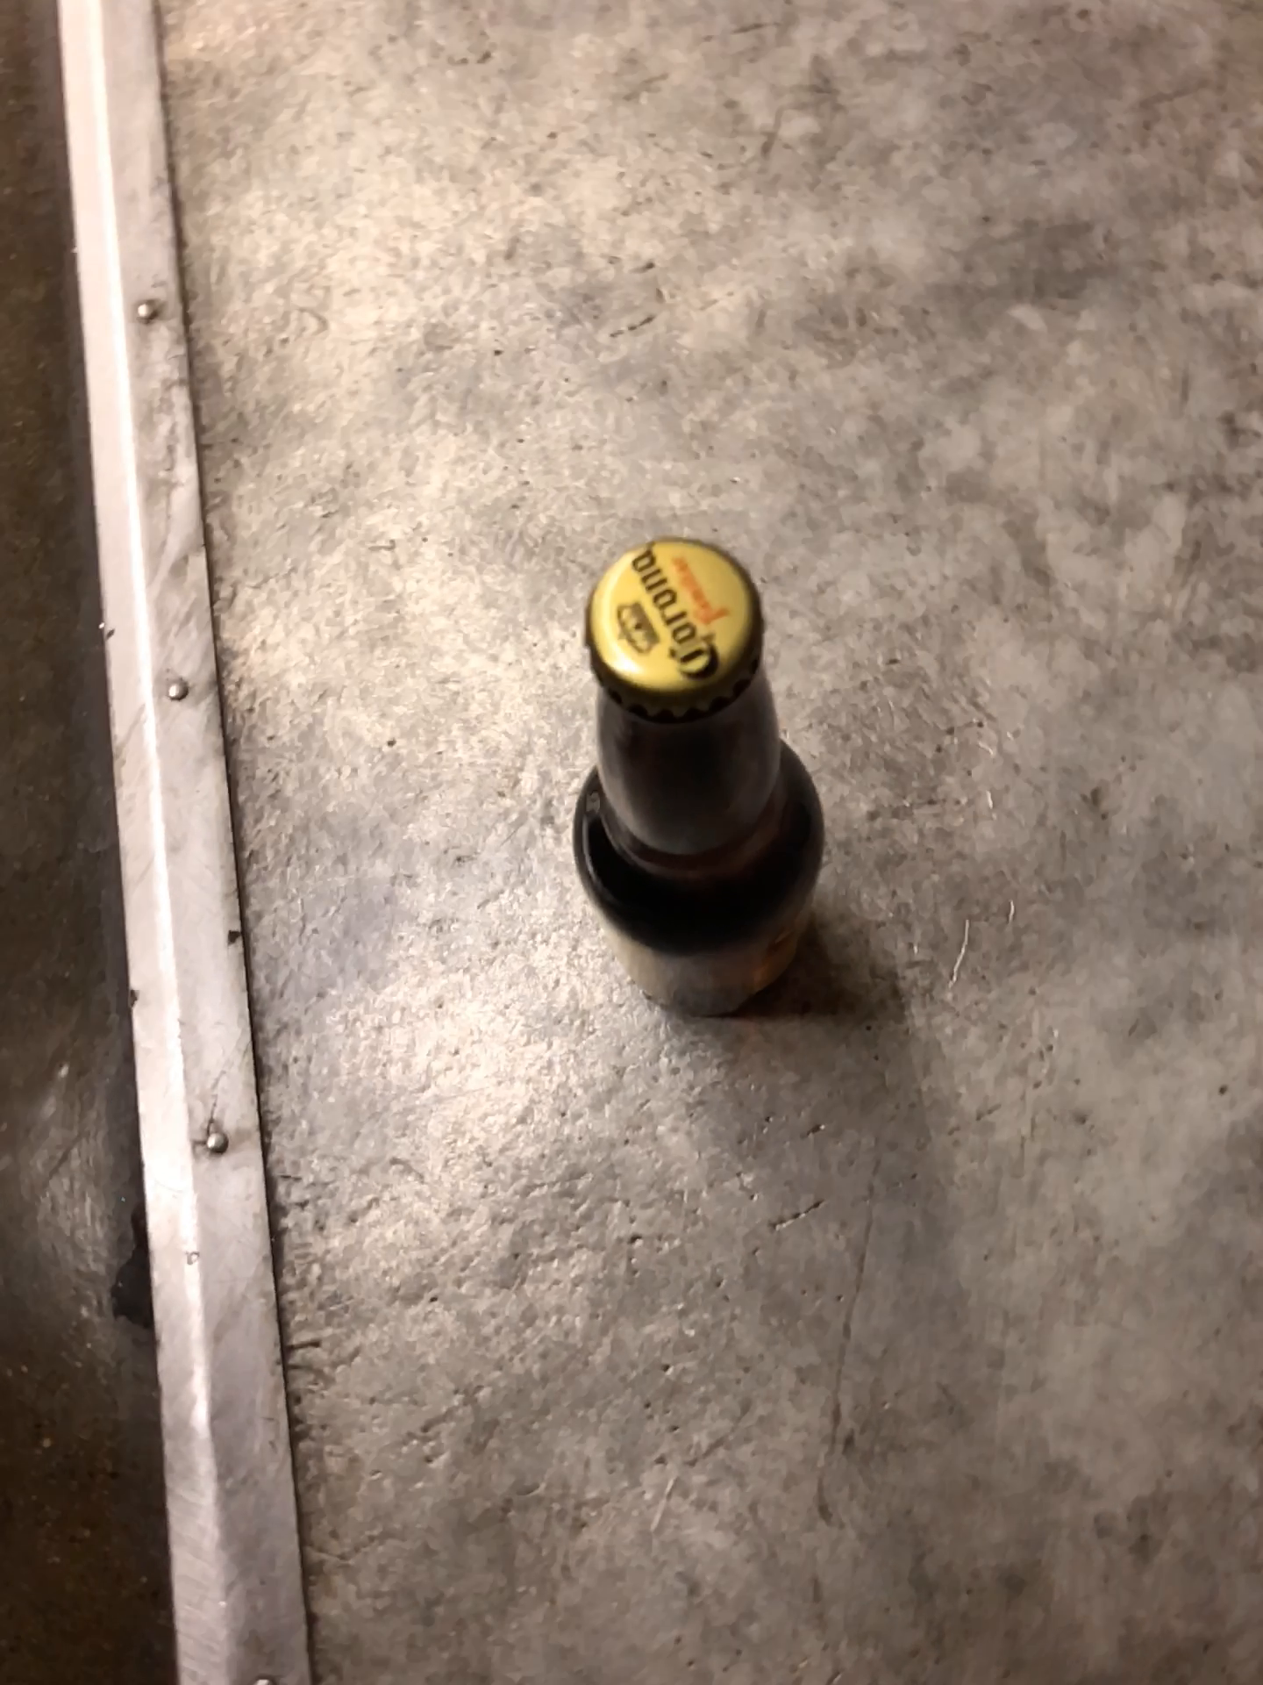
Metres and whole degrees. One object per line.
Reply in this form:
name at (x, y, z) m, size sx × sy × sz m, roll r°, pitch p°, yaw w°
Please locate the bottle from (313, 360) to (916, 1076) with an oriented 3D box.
bottle at (0.008, -0.002, 0.288) m, size 0.070 × 0.217 × 0.070 m, roll -1°, pitch 75°, yaw 5°
